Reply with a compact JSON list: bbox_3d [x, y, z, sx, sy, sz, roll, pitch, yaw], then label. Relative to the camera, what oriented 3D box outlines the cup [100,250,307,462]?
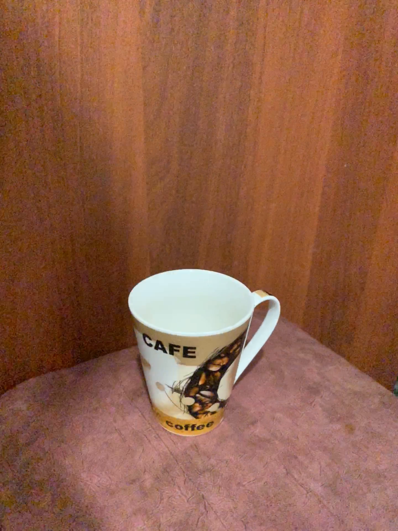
[{"bbox_3d":[0.000,0.058,0.320,0.119,0.092,0.095,-13,29,-29],"label":"cup"}]
